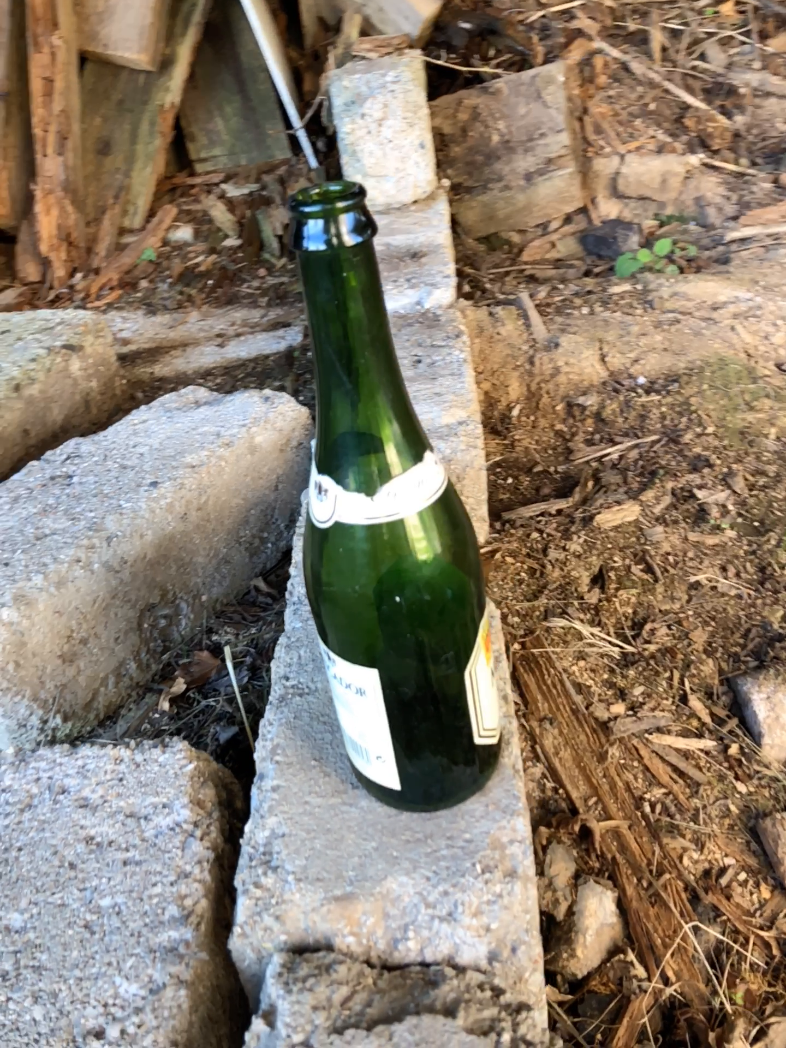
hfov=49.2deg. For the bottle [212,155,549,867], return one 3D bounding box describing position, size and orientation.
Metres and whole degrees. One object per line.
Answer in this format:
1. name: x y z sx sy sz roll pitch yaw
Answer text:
1. bottle: 0.004 0.005 0.376 0.090 0.288 0.090 -5 32 3
